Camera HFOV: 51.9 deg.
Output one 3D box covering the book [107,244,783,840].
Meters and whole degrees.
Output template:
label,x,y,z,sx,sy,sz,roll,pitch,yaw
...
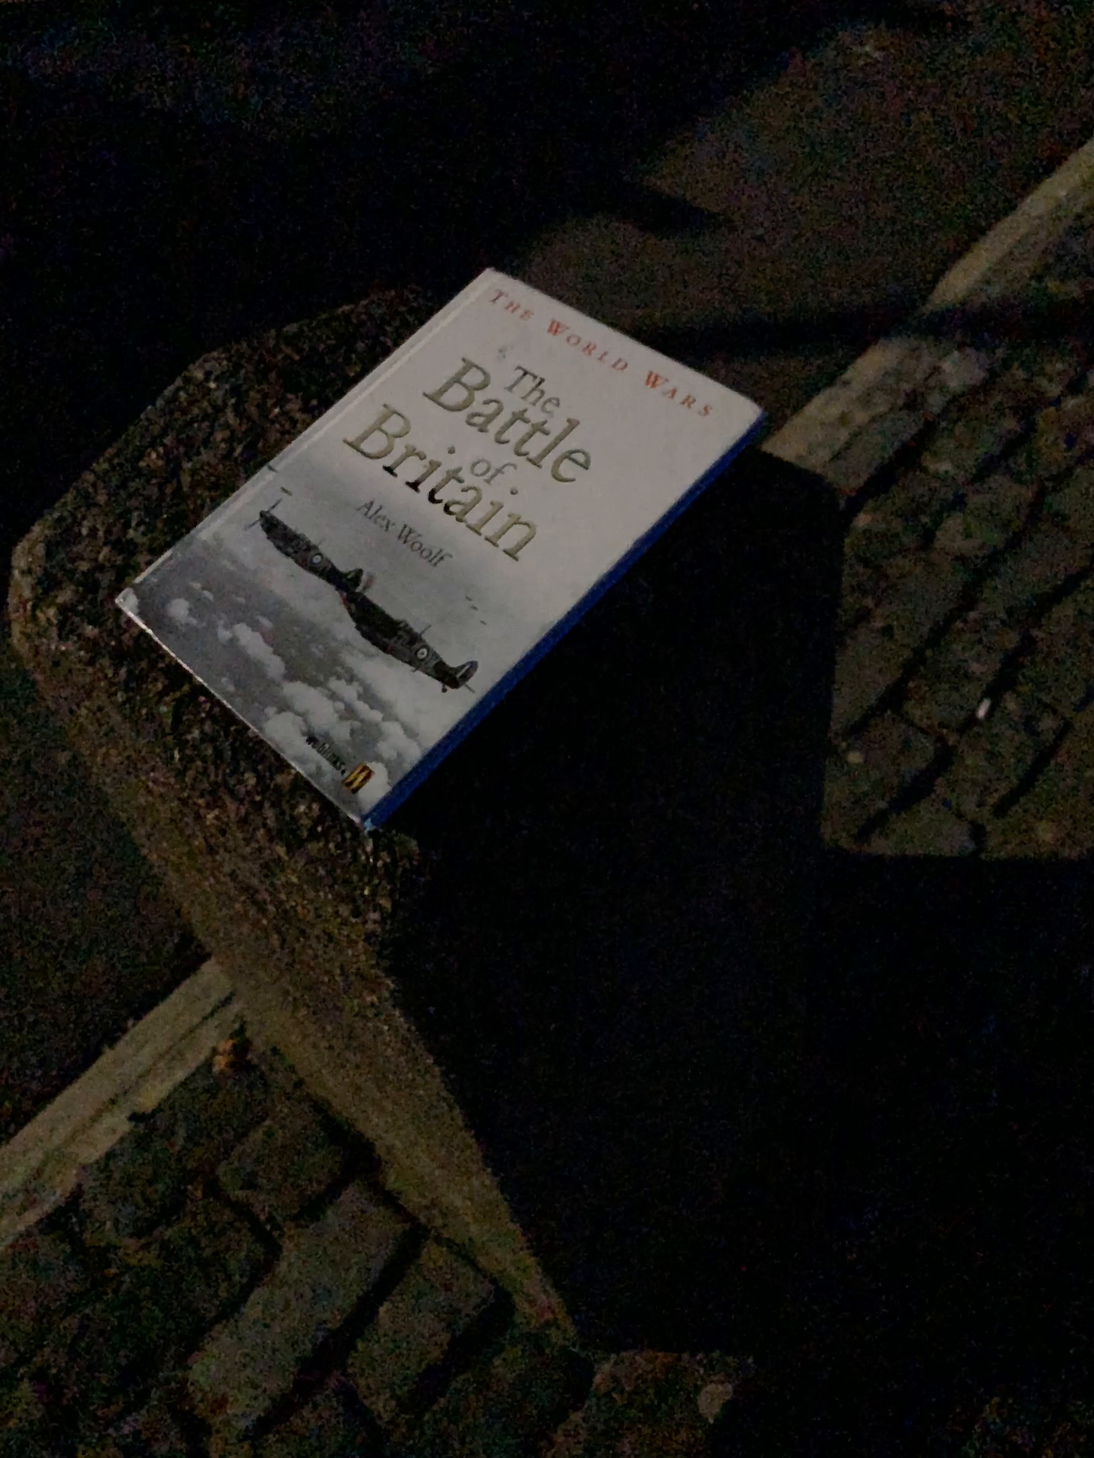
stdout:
label,x,y,z,sx,sy,sz,roll,pitch,yaw
book,-0.045,-0.095,0.482,0.171,0.020,0.245,38,76,27
